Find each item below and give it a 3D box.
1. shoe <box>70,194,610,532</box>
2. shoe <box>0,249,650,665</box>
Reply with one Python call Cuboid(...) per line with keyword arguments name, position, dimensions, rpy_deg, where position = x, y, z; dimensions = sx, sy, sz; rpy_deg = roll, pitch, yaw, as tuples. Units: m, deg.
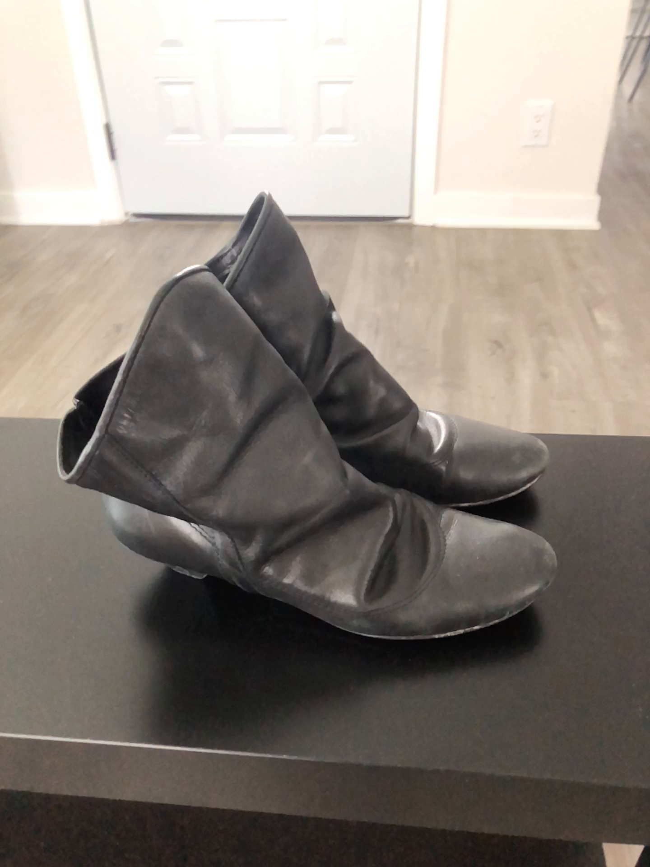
Cuboid(name="shoe", position=(0.009, -0.044, 0.433), dimensions=(0.260, 0.169, 0.102), rpy_deg=(2, 35, 5))
Cuboid(name="shoe", position=(-0.003, 0.010, 0.353), dimensions=(0.250, 0.169, 0.102), rpy_deg=(2, 35, 5))
